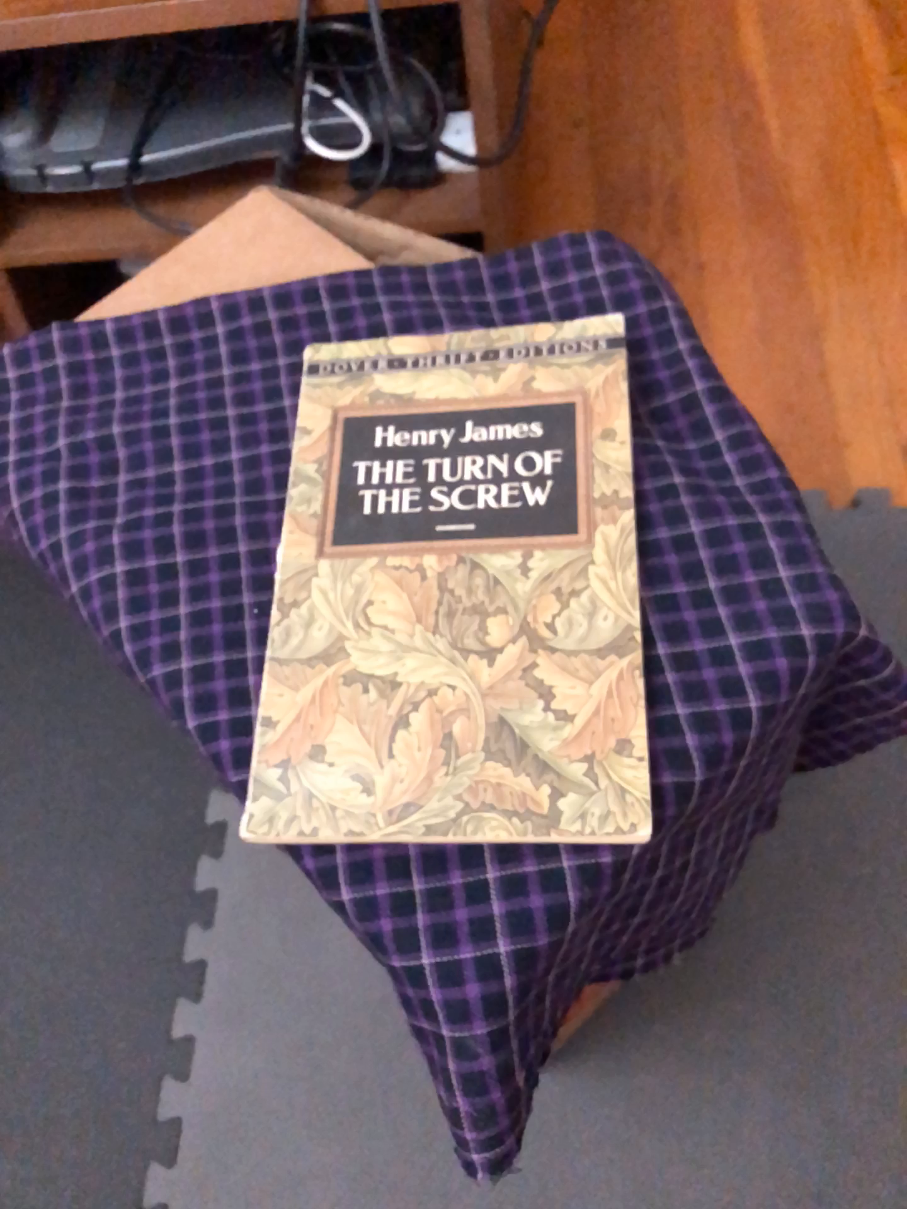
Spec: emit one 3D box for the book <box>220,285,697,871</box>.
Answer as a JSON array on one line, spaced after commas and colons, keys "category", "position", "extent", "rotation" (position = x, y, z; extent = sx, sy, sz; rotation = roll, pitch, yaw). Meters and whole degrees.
[{"category": "book", "position": [0.003, -0.020, 0.351], "extent": [0.140, 0.010, 0.221], "rotation": [-2, 62, 8]}]
